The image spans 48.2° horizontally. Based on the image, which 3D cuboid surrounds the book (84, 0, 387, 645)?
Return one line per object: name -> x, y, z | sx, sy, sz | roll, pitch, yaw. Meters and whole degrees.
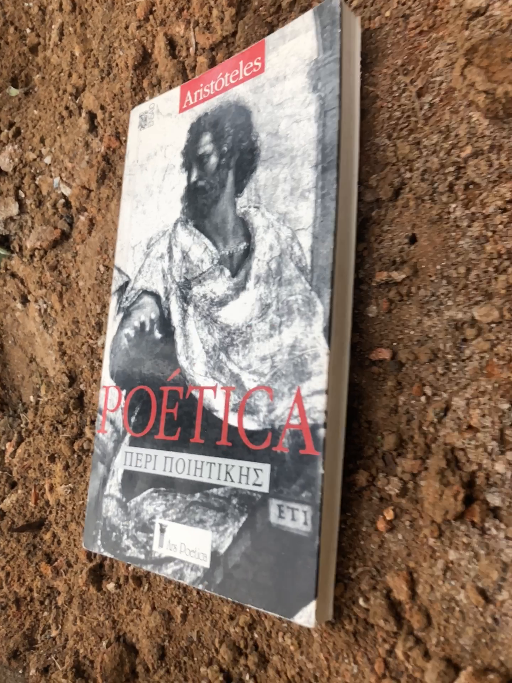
book -> -0.015, -0.011, 0.211 | 0.131, 0.015, 0.189 | -5, 79, 44
